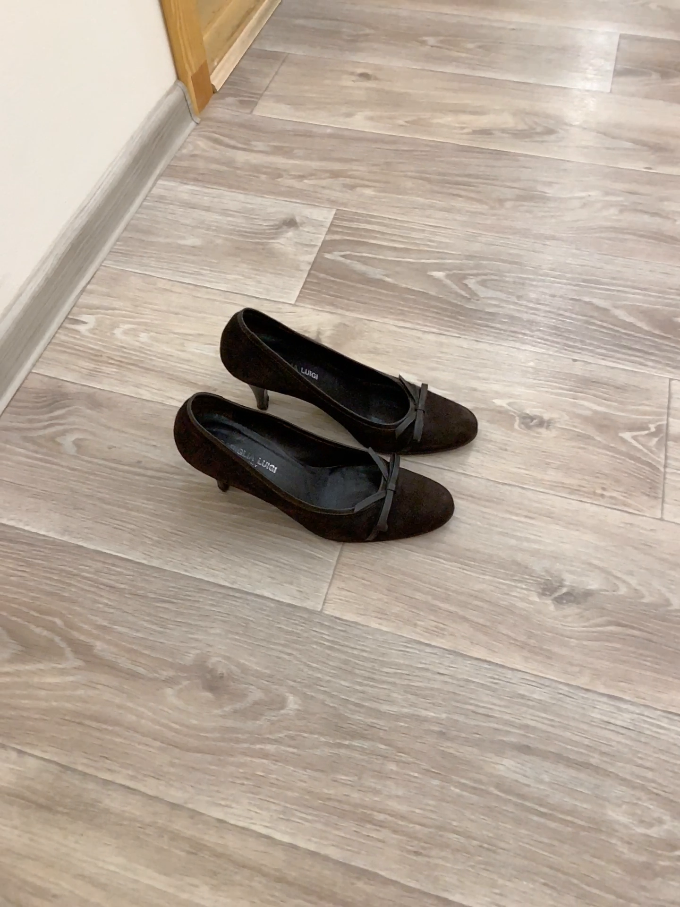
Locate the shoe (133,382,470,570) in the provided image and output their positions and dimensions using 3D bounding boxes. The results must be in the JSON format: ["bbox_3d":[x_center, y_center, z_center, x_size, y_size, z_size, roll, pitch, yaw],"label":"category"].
[{"bbox_3d":[-0.028,0.020,0.606,0.260,0.110,0.080,8,58,8],"label":"shoe"}]

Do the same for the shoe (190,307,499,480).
[{"bbox_3d":[0.007,-0.055,0.654,0.260,0.110,0.080,8,58,8],"label":"shoe"}]
